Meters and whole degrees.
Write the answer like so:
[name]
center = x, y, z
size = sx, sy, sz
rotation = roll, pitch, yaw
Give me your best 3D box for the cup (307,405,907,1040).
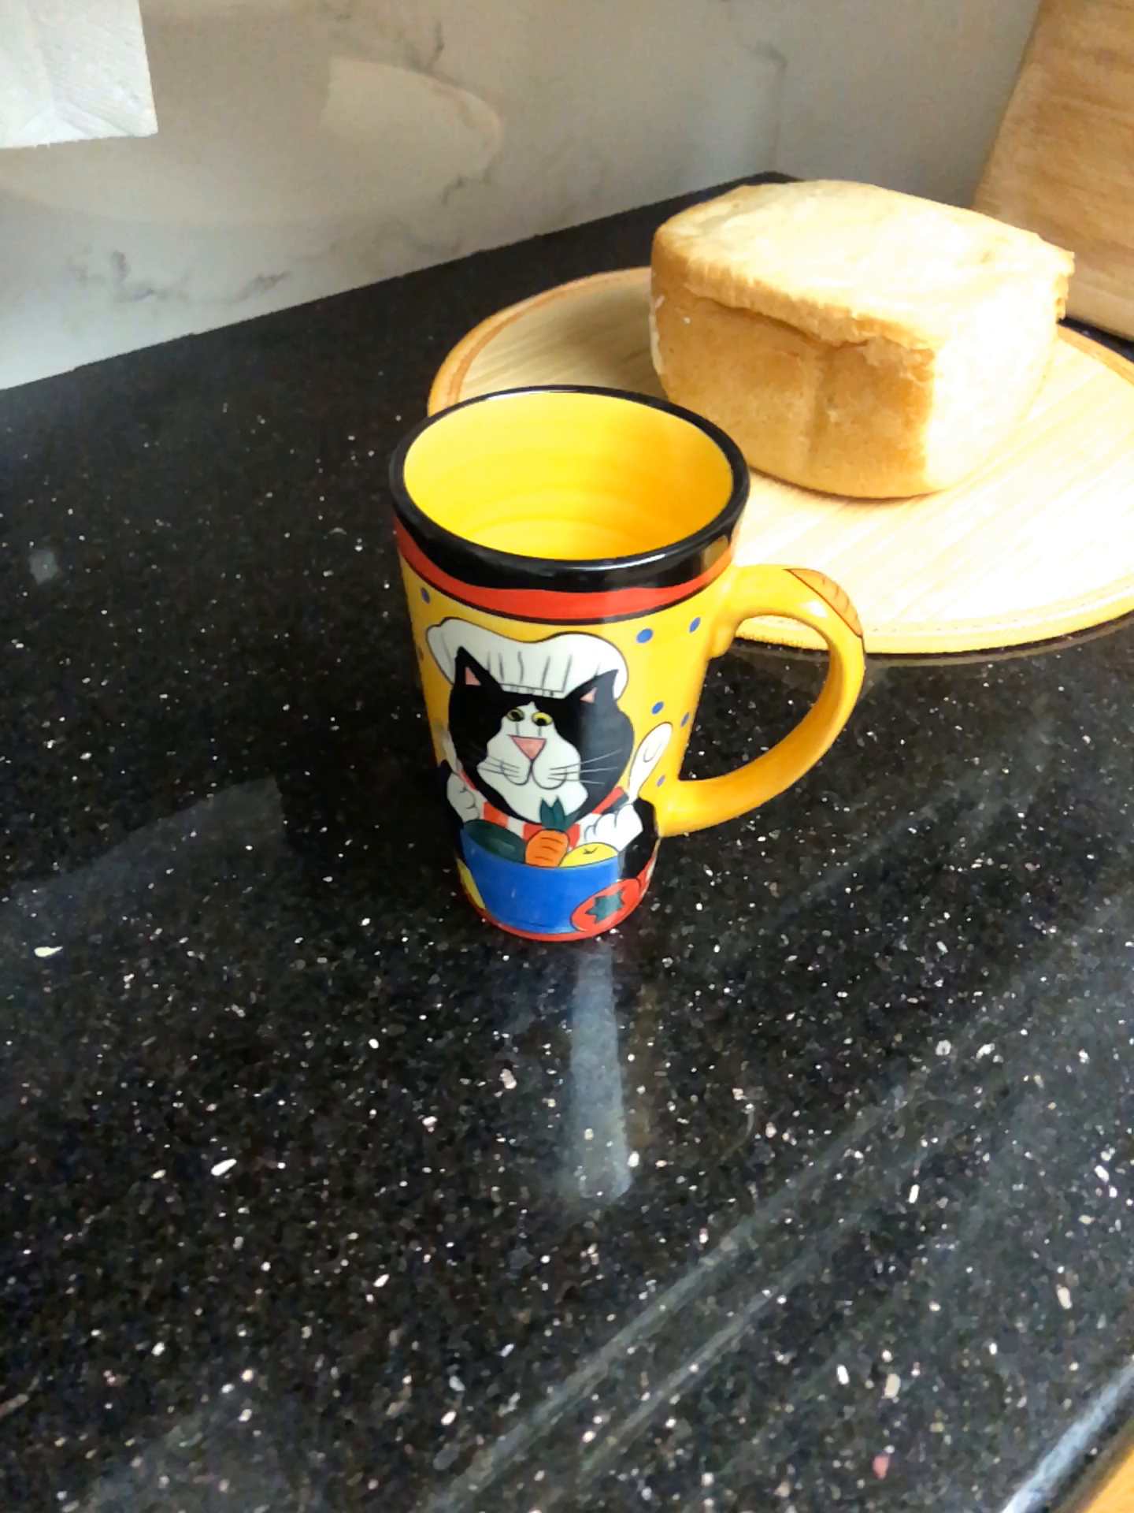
[cup]
center = 0.013, -0.008, 0.349
size = 0.130, 0.139, 0.091
rotation = 6, 42, 6
